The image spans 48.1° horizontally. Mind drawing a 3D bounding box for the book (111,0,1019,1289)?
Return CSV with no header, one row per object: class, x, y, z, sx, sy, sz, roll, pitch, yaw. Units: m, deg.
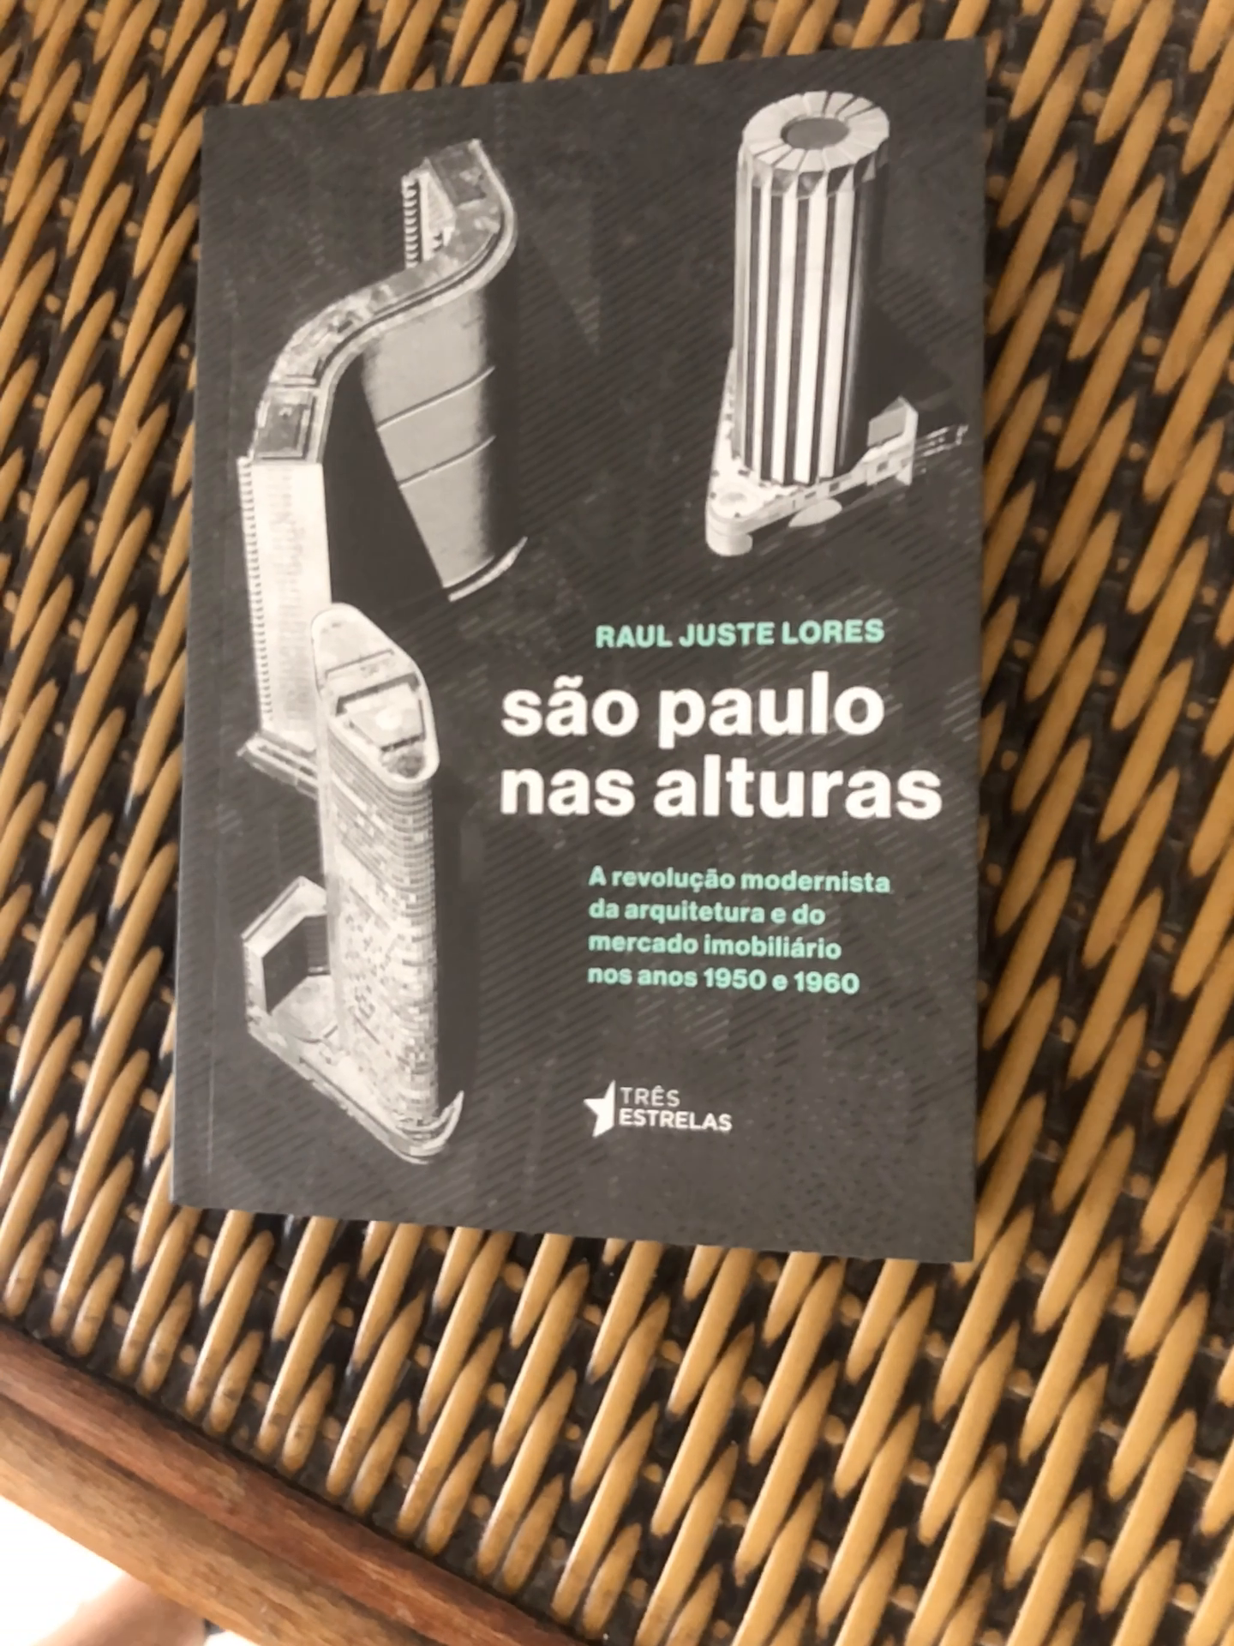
book,-0.012,-0.034,0.260,0.160,0.030,0.221,2,91,10
